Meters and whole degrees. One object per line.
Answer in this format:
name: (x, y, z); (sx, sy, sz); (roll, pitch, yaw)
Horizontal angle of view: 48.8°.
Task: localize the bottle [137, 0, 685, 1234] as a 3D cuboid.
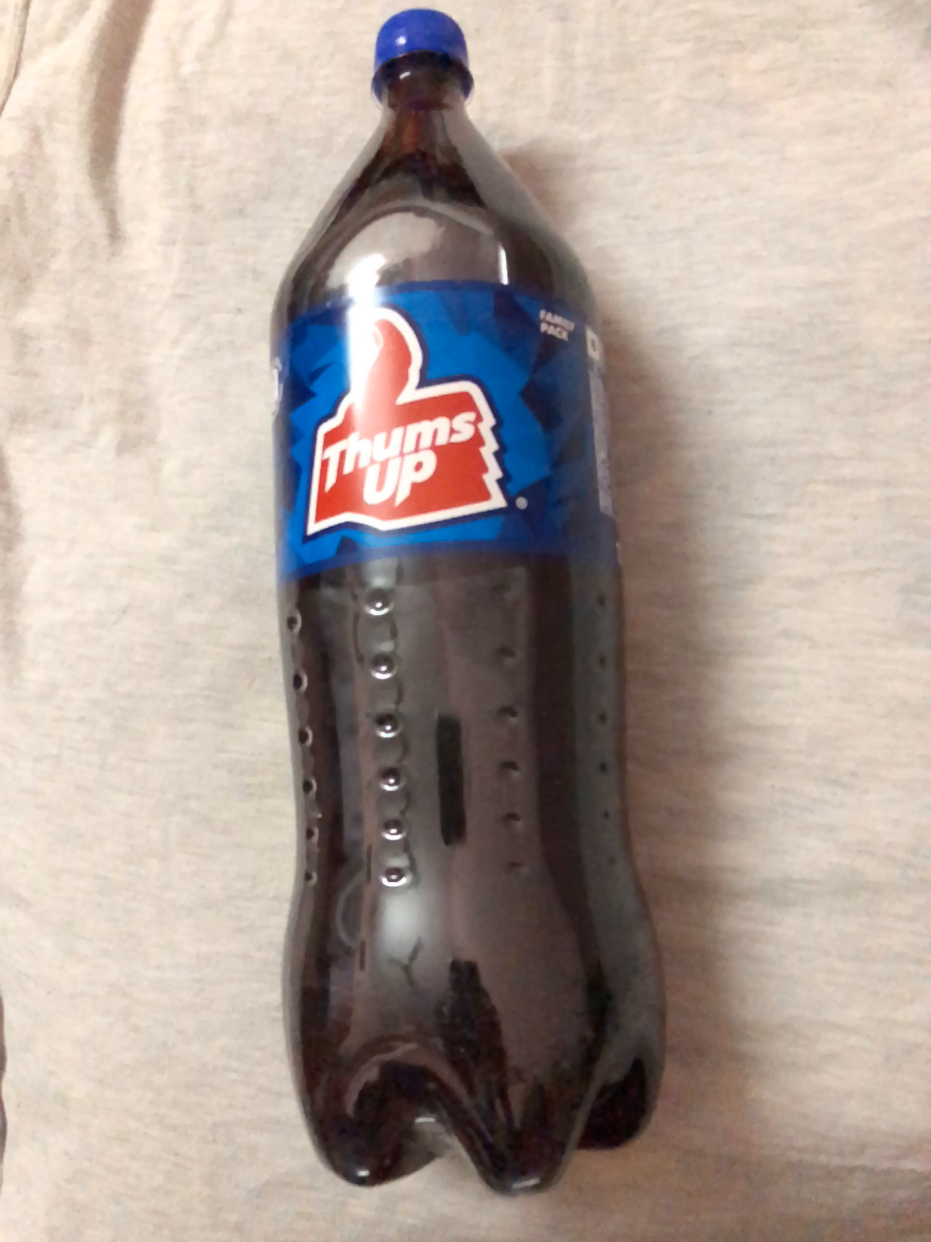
bottle: (-0.016, -0.029, 0.250); (0.100, 0.060, 0.300); (-7, 80, 16)
